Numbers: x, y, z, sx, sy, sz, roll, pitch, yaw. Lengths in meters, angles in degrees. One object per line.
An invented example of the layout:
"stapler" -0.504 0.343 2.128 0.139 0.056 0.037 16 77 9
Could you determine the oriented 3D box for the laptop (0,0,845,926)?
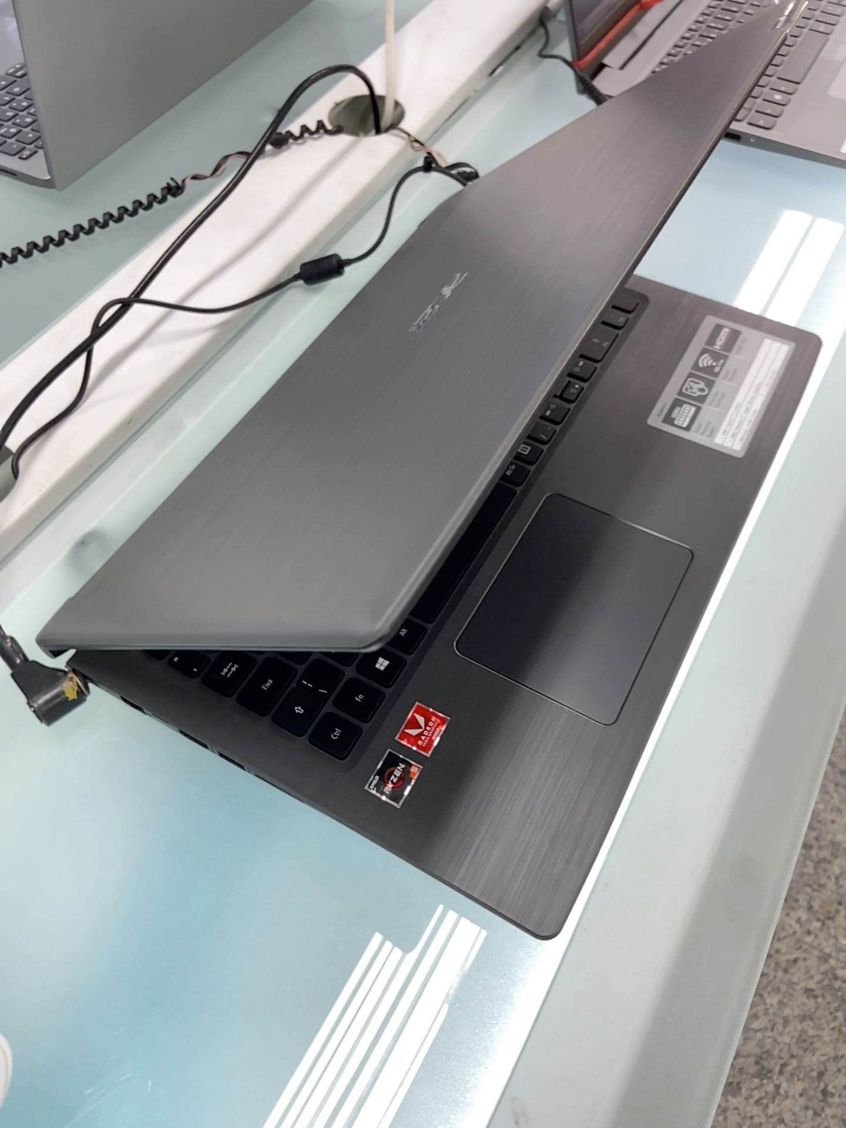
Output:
"laptop" 0.043 -0.082 0.364 0.220 0.155 0.344 24 59 17
